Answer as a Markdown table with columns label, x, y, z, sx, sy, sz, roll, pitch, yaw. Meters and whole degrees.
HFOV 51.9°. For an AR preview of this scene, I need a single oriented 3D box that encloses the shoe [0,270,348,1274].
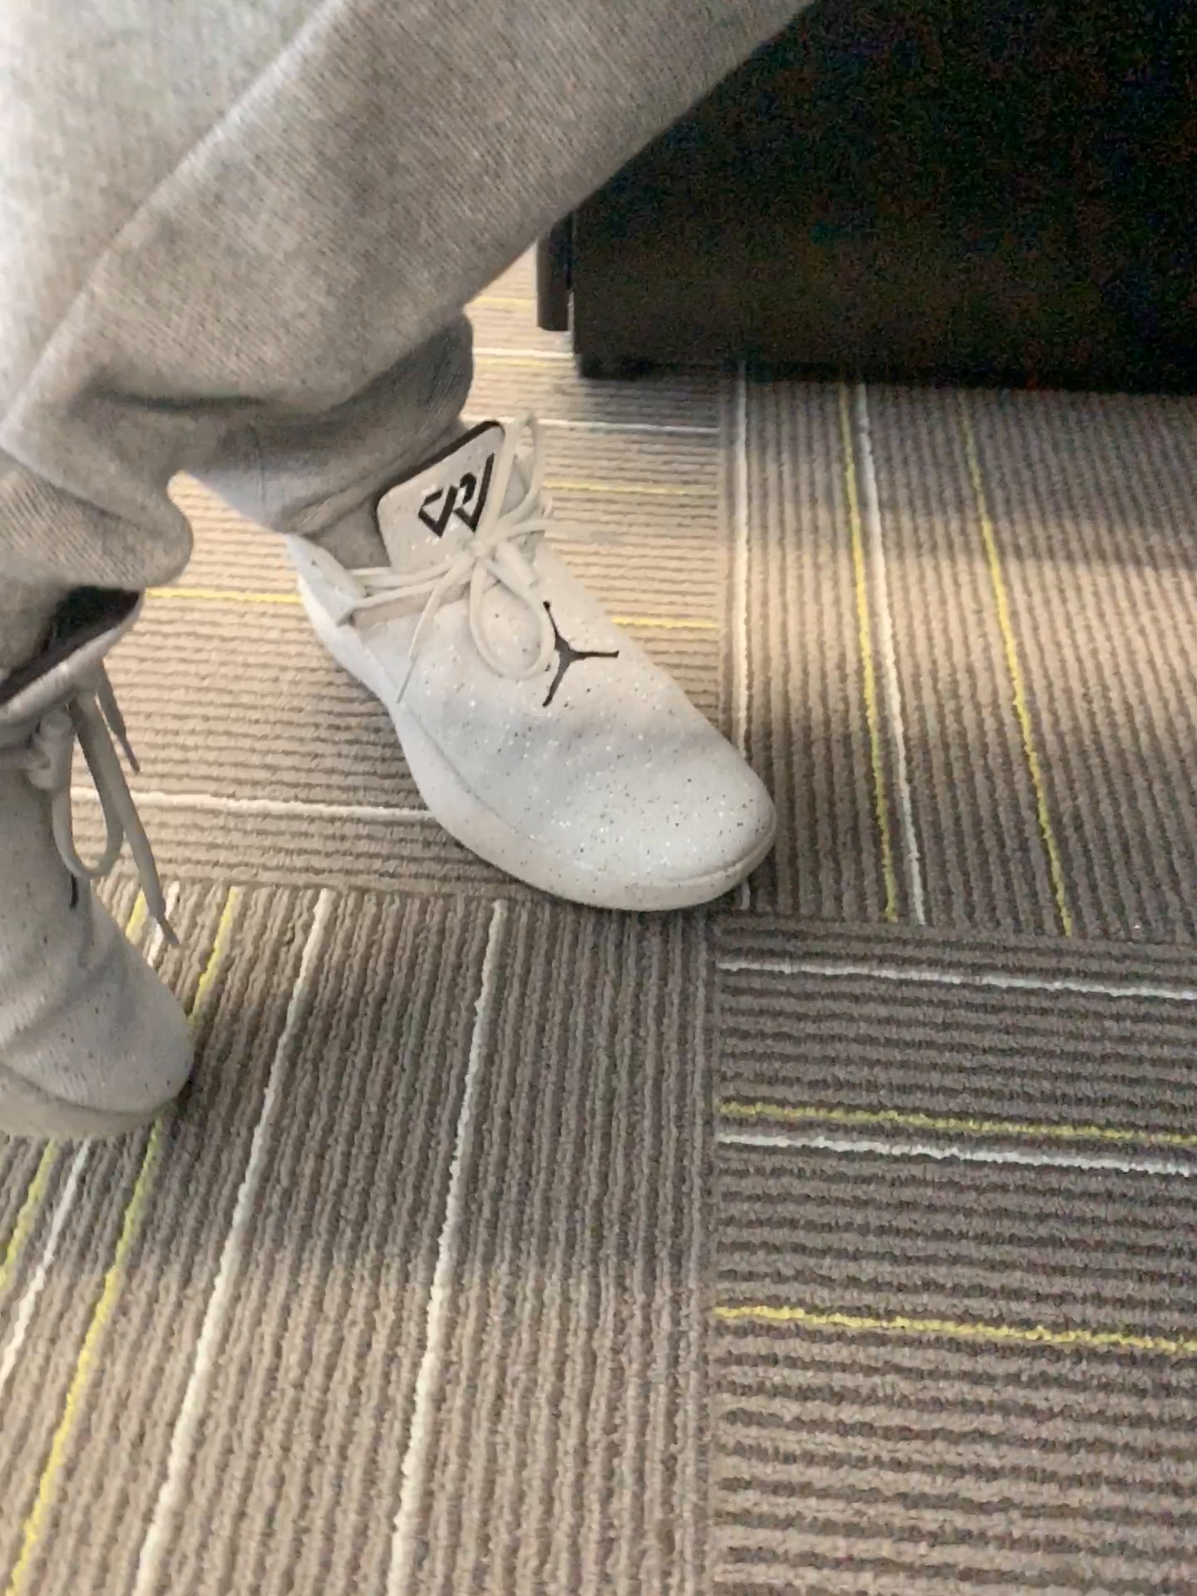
| label | x | y | z | sx | sy | sz | roll | pitch | yaw |
| --- | --- | --- | --- | --- | --- | --- | --- | --- | --- |
| shoe | -0.211 | 0.010 | 0.384 | 0.120 | 0.279 | 0.121 | -29 | 39 | 4 |

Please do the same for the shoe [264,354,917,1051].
| label | x | y | z | sx | sy | sz | roll | pitch | yaw |
| --- | --- | --- | --- | --- | --- | --- | --- | --- | --- |
| shoe | -0.016 | -0.055 | 0.572 | 0.130 | 0.149 | 0.281 | -30 | 58 | -23 |
